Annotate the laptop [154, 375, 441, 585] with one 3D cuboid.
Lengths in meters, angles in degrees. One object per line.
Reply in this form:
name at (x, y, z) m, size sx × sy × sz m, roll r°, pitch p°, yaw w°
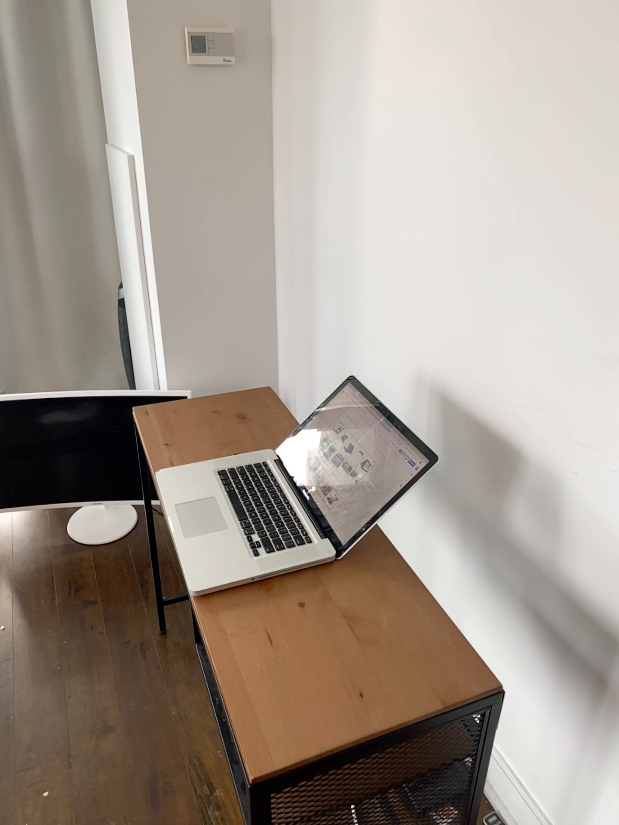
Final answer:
laptop at (-0.040, 0.098, 1.201) m, size 0.435 × 0.155 × 0.361 m, roll -9°, pitch 29°, yaw -19°
